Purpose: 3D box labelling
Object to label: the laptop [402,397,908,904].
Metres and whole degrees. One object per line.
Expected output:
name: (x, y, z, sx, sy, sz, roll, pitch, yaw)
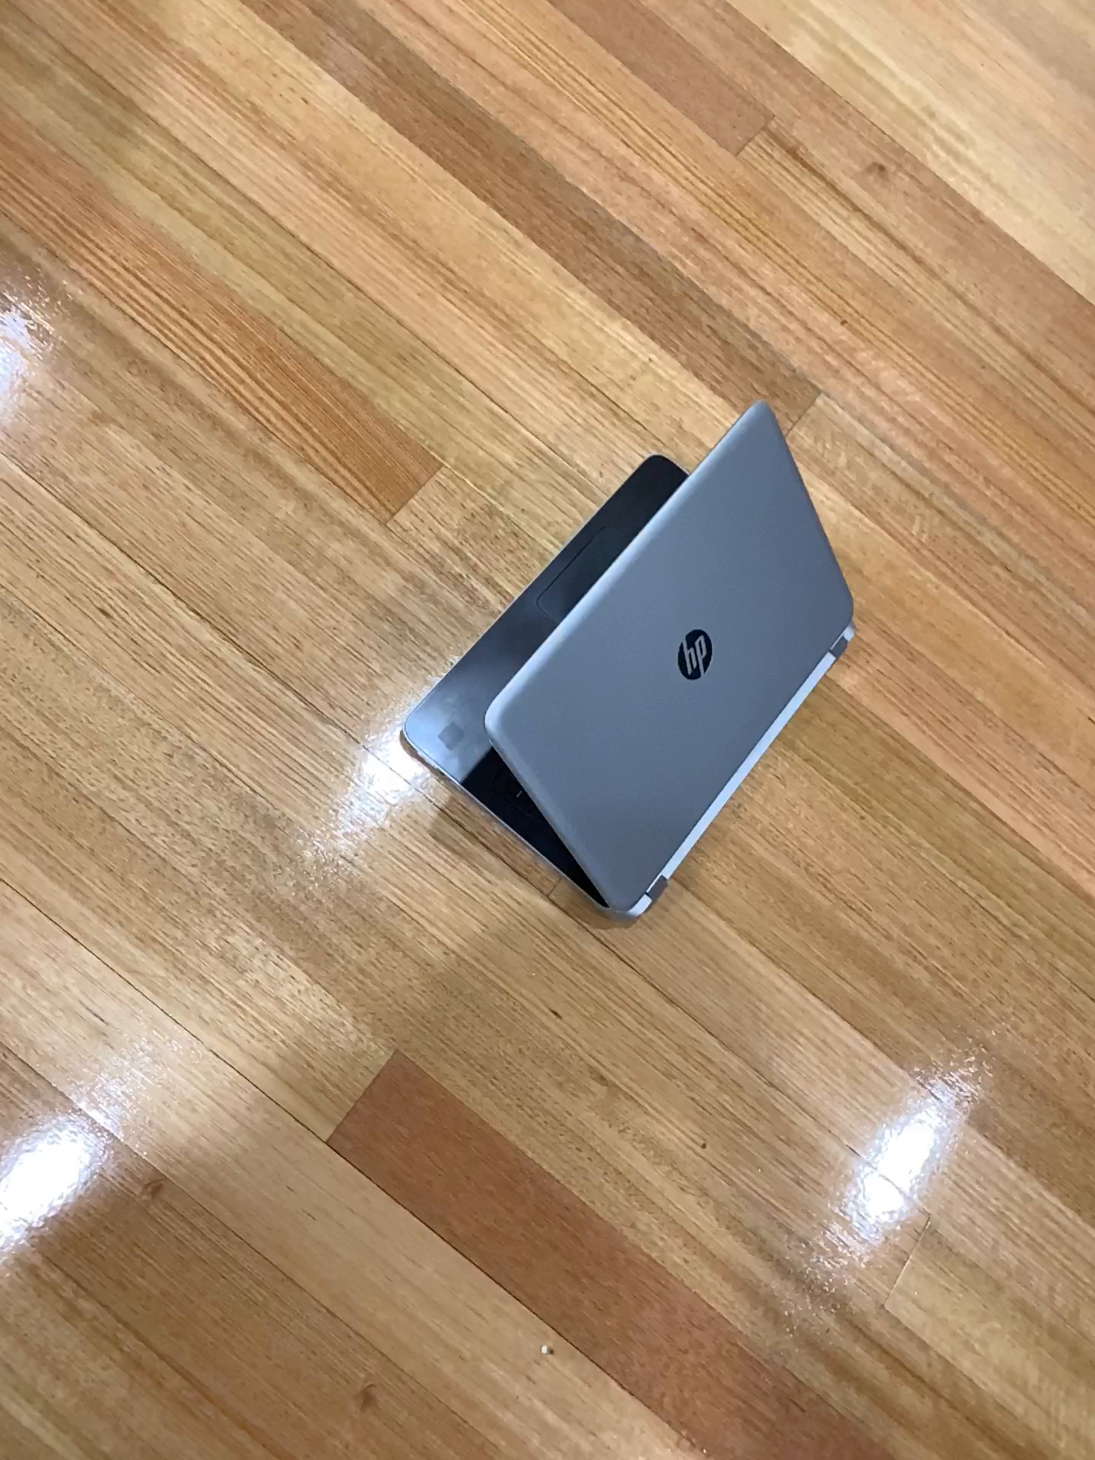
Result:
laptop: (0.086, -0.063, 0.862, 0.209, 0.102, 0.333, 41, 69, -1)
